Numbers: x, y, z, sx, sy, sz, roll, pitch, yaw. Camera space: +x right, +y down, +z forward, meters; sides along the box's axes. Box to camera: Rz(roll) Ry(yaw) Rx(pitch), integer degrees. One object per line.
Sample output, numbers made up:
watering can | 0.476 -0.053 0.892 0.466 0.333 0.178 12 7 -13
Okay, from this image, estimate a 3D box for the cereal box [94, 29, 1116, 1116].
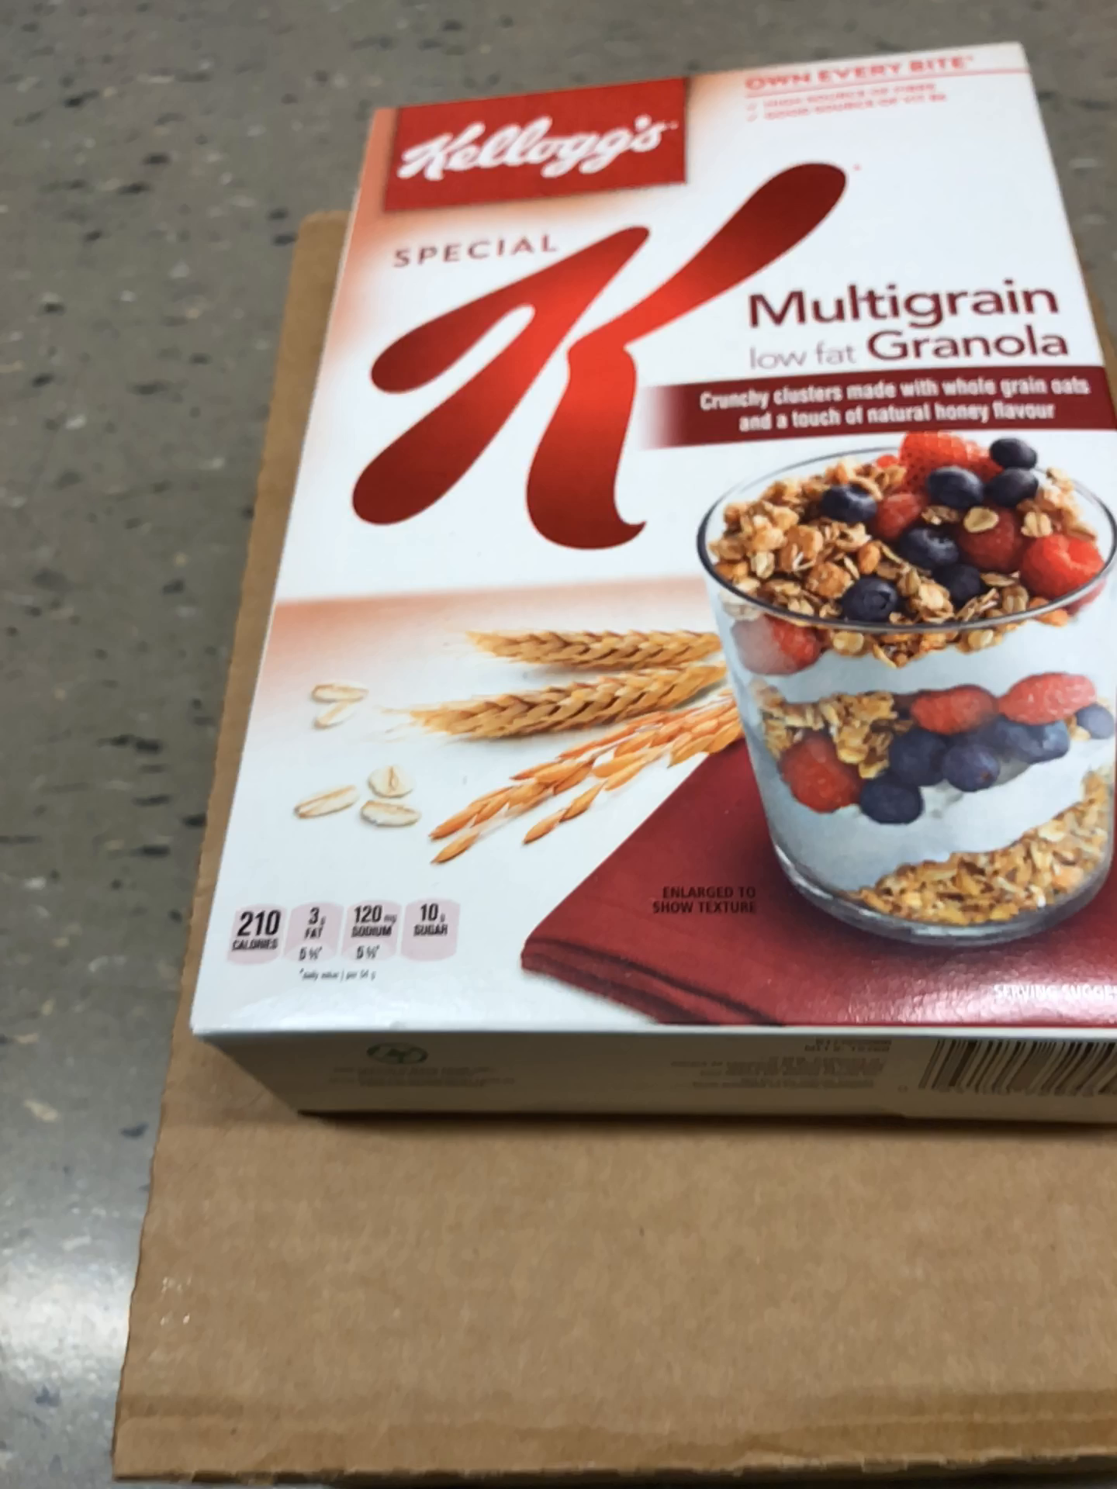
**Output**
cereal box | 0.024 -0.061 0.275 0.180 0.050 0.270 0 56 1
